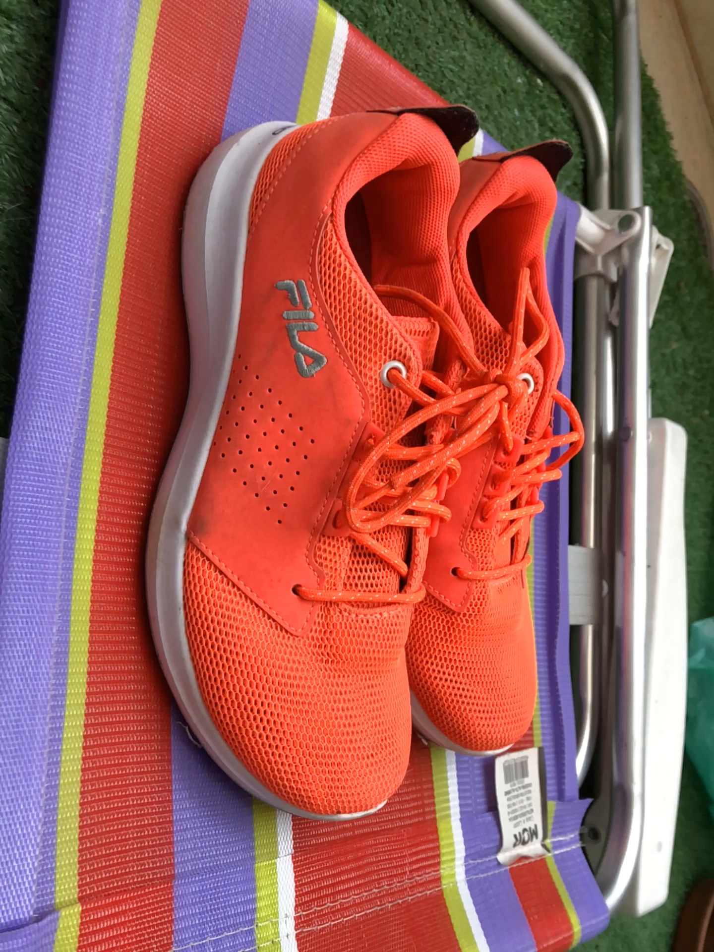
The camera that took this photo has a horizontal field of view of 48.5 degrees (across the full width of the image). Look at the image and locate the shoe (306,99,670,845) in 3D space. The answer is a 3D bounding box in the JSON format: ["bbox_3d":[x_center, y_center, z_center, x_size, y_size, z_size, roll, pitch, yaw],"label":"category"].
[{"bbox_3d":[0.055,-0.001,0.332,0.101,0.089,0.250,-2,87,-44],"label":"shoe"}]

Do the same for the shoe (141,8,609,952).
[{"bbox_3d":[0.005,0.010,0.248,0.101,0.099,0.230,4,83,-50],"label":"shoe"}]
